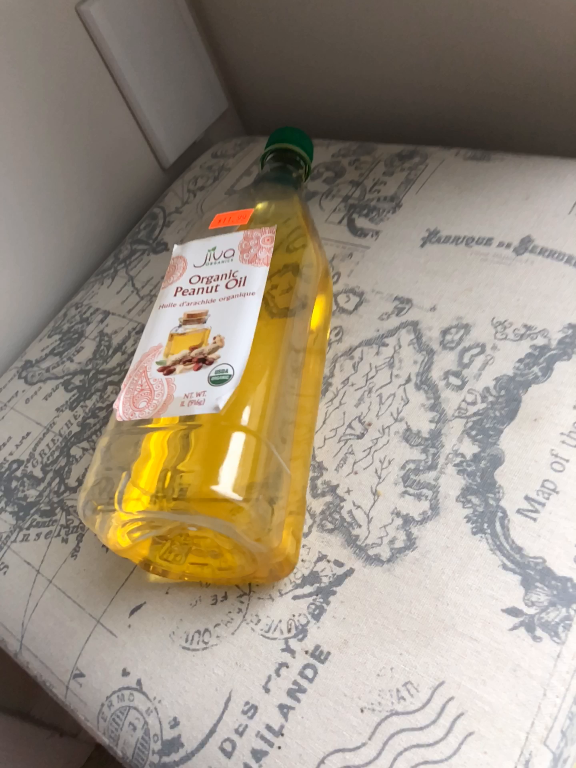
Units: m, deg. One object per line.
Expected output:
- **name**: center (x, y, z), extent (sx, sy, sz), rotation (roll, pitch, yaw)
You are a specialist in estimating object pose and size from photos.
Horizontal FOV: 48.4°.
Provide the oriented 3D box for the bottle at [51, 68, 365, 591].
- **bottle**: center (-0.019, -0.044, 0.323), extent (0.080, 0.070, 0.271), rotation (-4, 53, 20)
